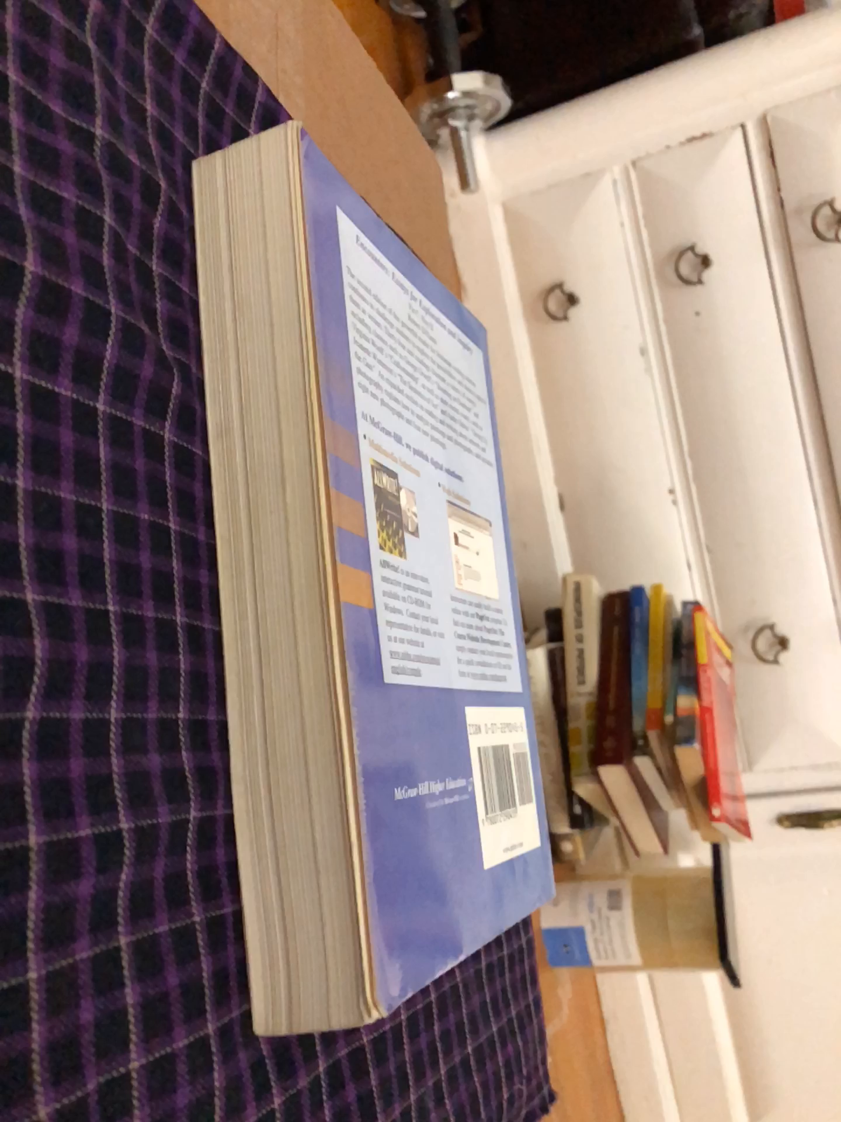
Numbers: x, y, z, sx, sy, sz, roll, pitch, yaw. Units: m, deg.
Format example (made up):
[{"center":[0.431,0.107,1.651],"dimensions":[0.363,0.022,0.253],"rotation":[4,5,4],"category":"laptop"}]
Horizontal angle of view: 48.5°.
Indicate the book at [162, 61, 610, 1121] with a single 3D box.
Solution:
[{"center":[0.002,0.009,0.297],"dimensions":[0.181,0.040,0.240],"rotation":[16,65,-65],"category":"book"}]
